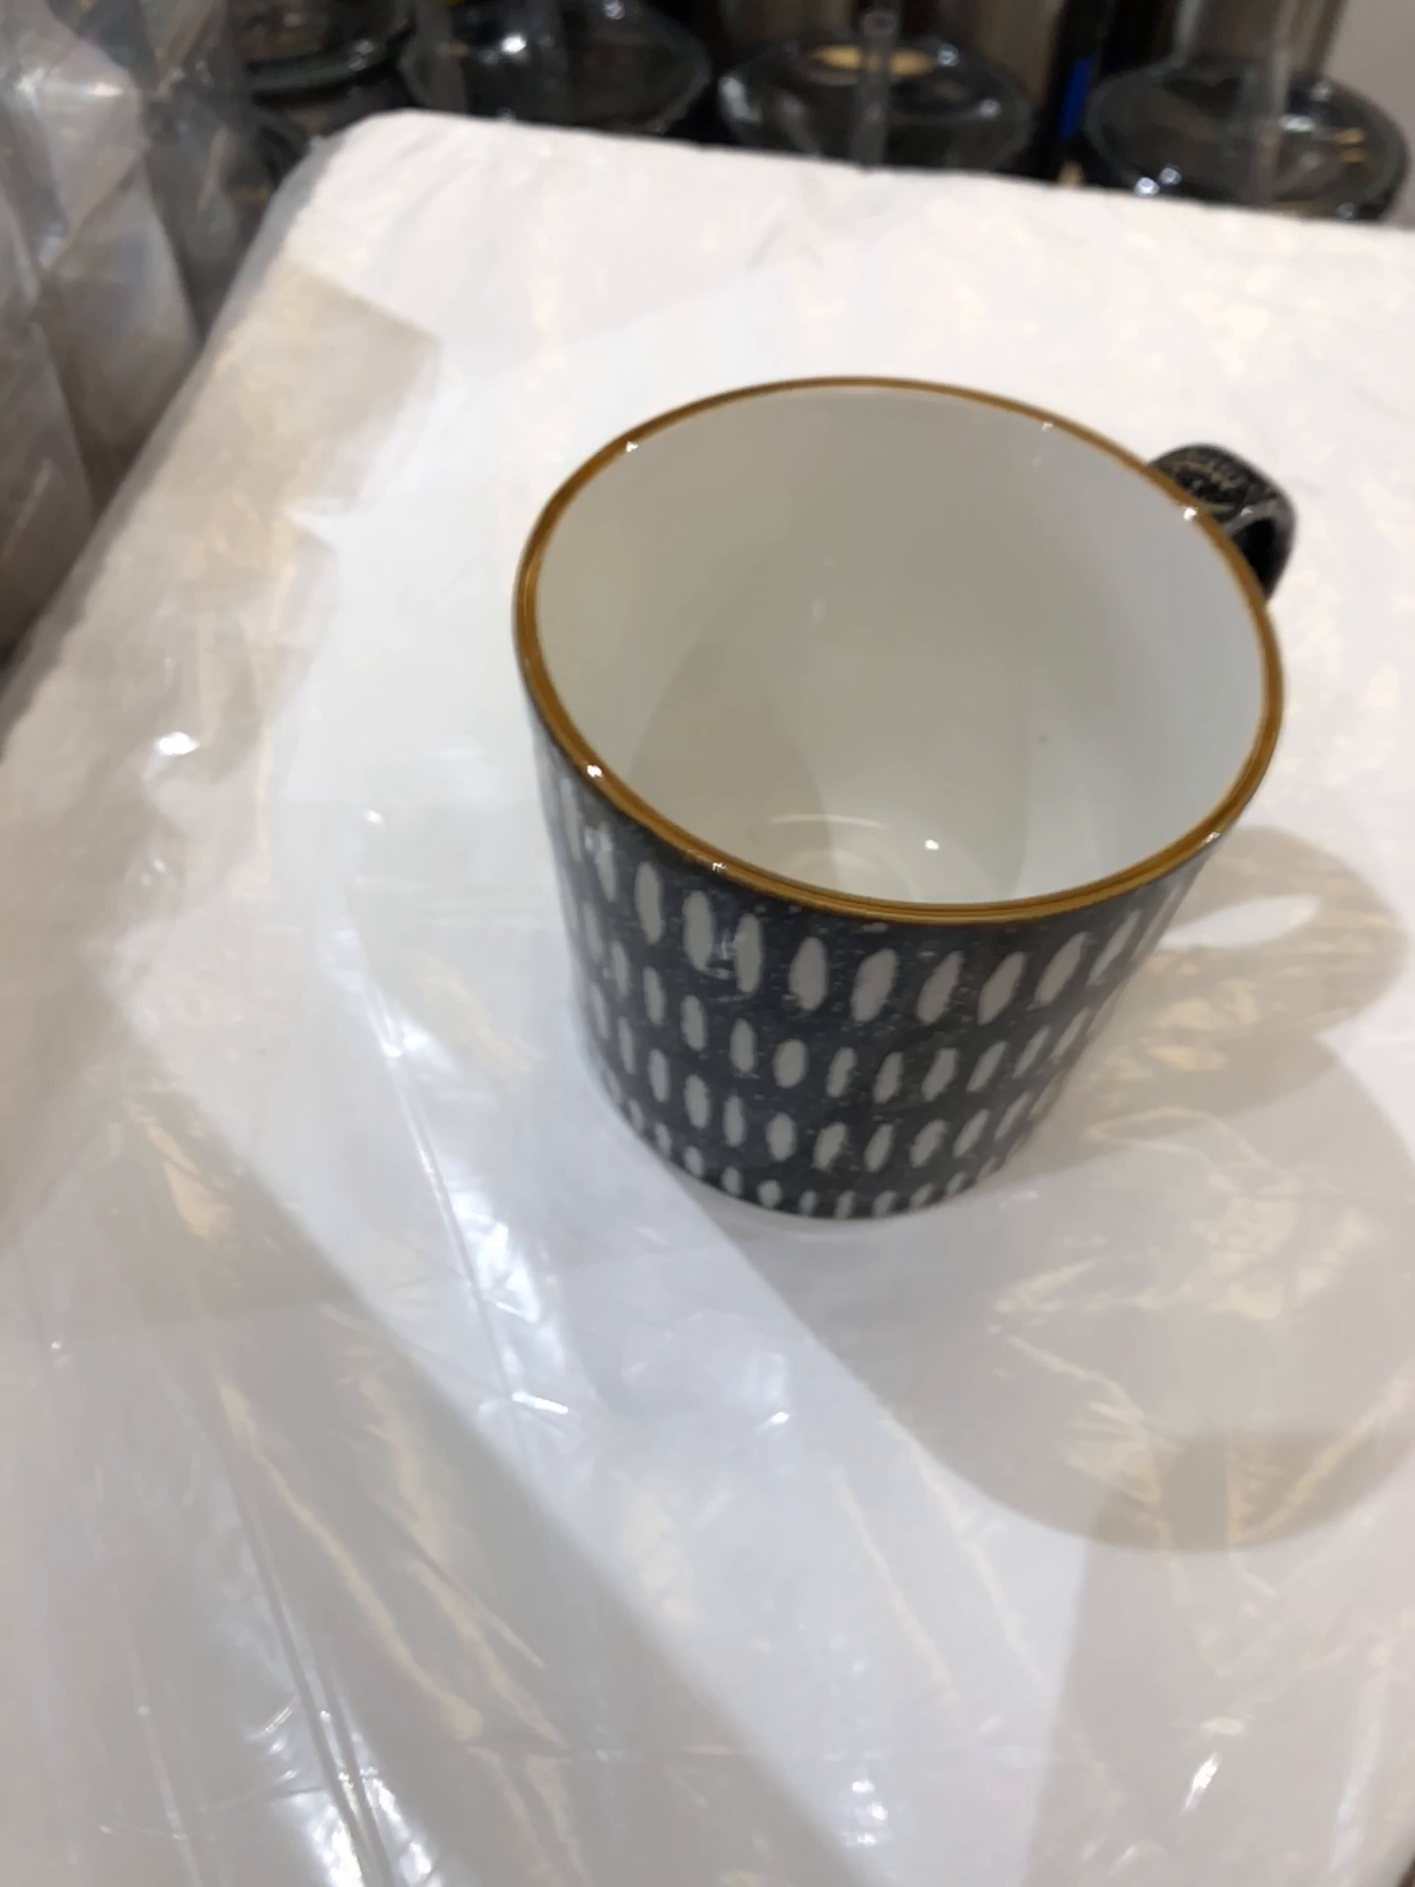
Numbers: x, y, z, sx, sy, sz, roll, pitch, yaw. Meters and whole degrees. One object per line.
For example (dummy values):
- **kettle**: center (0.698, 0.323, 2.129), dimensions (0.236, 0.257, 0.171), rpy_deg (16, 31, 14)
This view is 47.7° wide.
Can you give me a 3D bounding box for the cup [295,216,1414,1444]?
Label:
- **cup**: center (0.025, -0.017, 0.199), dimensions (0.110, 0.080, 0.080), rpy_deg (-35, 62, -24)
